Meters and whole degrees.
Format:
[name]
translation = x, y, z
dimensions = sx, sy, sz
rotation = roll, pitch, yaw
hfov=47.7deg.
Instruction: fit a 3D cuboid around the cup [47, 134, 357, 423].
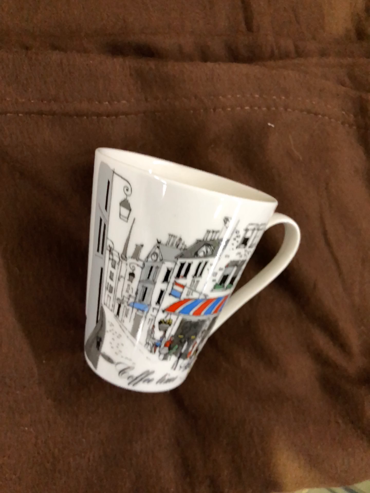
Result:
[cup]
translation = -0.002, 0.015, 0.212
dimensions = 0.110, 0.080, 0.110
rotation = -6, 110, -18
